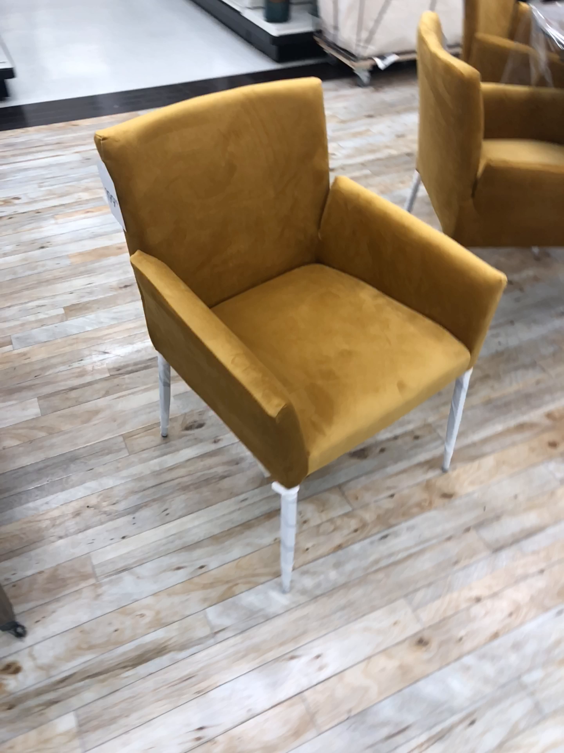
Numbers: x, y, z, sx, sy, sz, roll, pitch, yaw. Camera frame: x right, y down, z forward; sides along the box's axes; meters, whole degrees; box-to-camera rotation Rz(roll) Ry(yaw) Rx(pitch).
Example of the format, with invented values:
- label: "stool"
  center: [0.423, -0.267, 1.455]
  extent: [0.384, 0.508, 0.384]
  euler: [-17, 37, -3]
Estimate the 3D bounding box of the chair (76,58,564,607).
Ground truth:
- label: "chair"
  center: [0.048, -0.094, 1.257]
  extent: [0.561, 0.797, 0.541]
  euler: [-29, 51, -28]
